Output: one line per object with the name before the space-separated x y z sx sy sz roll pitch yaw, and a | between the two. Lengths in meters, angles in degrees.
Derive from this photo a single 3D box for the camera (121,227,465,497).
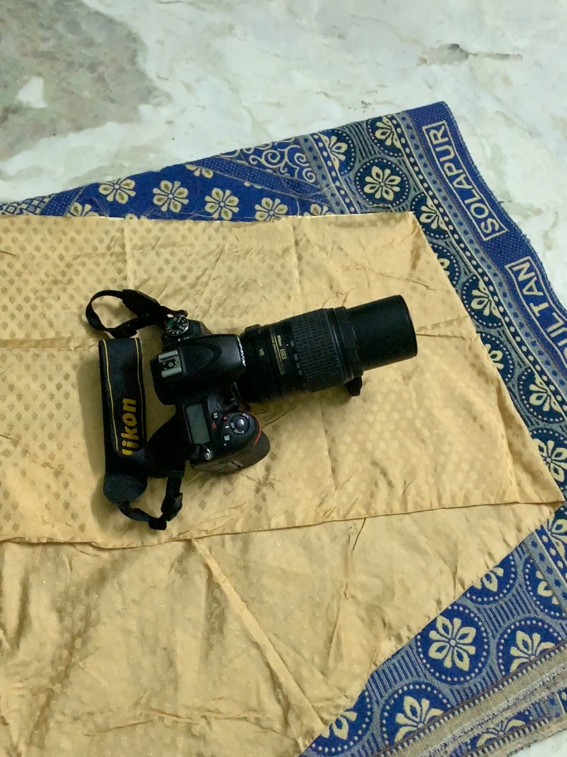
camera | 0.008 -0.001 0.534 0.240 0.180 0.140 -15 71 -1
